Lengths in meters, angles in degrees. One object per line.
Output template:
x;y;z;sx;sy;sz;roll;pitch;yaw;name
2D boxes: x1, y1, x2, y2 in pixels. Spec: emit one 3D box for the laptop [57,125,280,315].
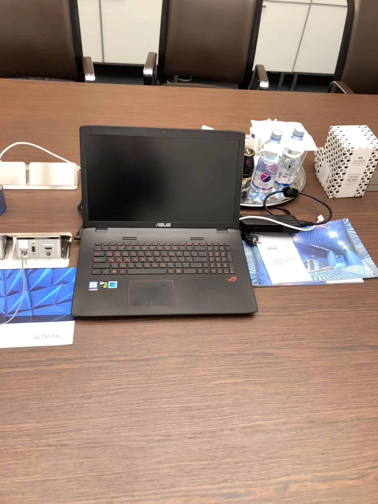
-0.053;-0.080;0.900;0.379;0.194;0.370;0;47;-7;laptop
